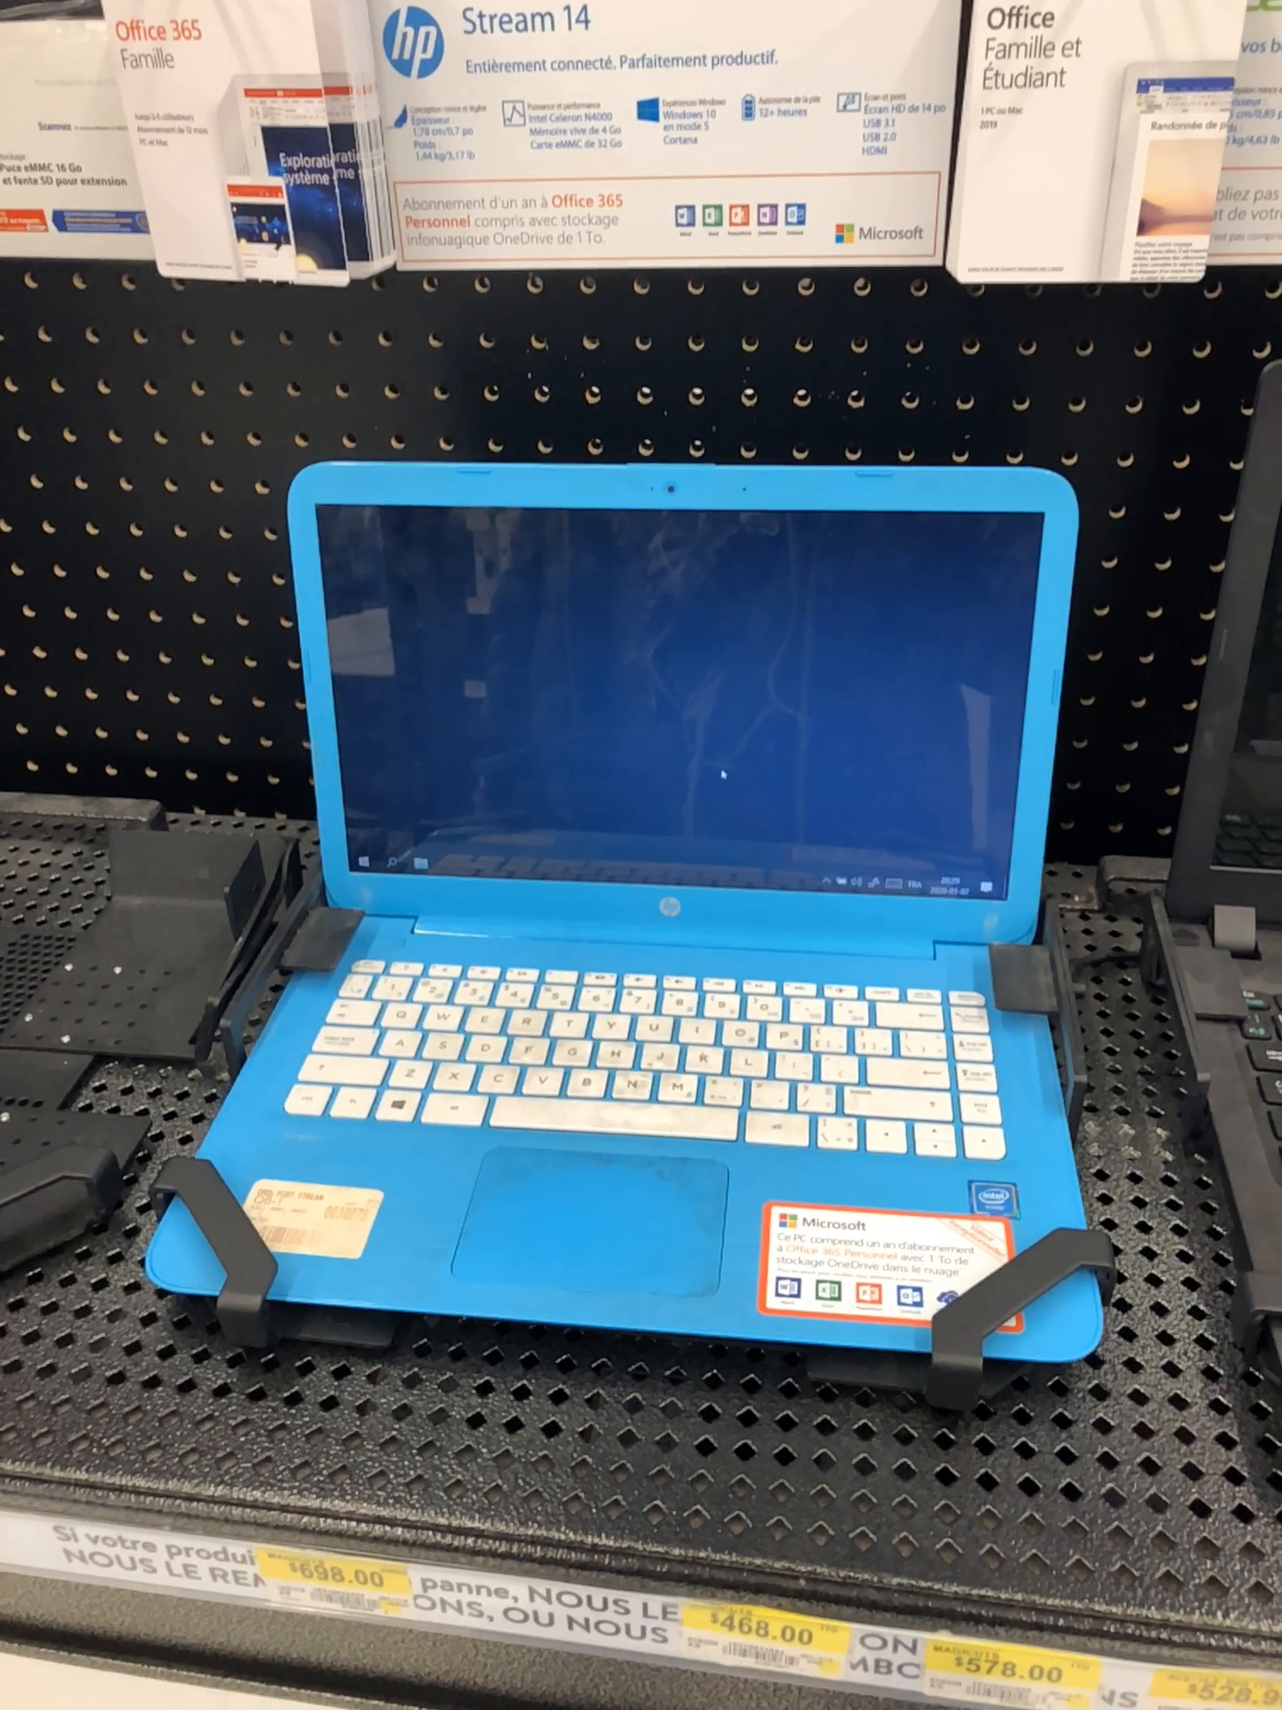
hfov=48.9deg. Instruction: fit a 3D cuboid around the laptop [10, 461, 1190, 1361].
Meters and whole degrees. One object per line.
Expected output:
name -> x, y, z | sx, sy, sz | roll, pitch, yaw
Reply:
laptop -> -0.002, -0.005, 0.537 | 0.319, 0.197, 0.270 | 2, 34, 8
